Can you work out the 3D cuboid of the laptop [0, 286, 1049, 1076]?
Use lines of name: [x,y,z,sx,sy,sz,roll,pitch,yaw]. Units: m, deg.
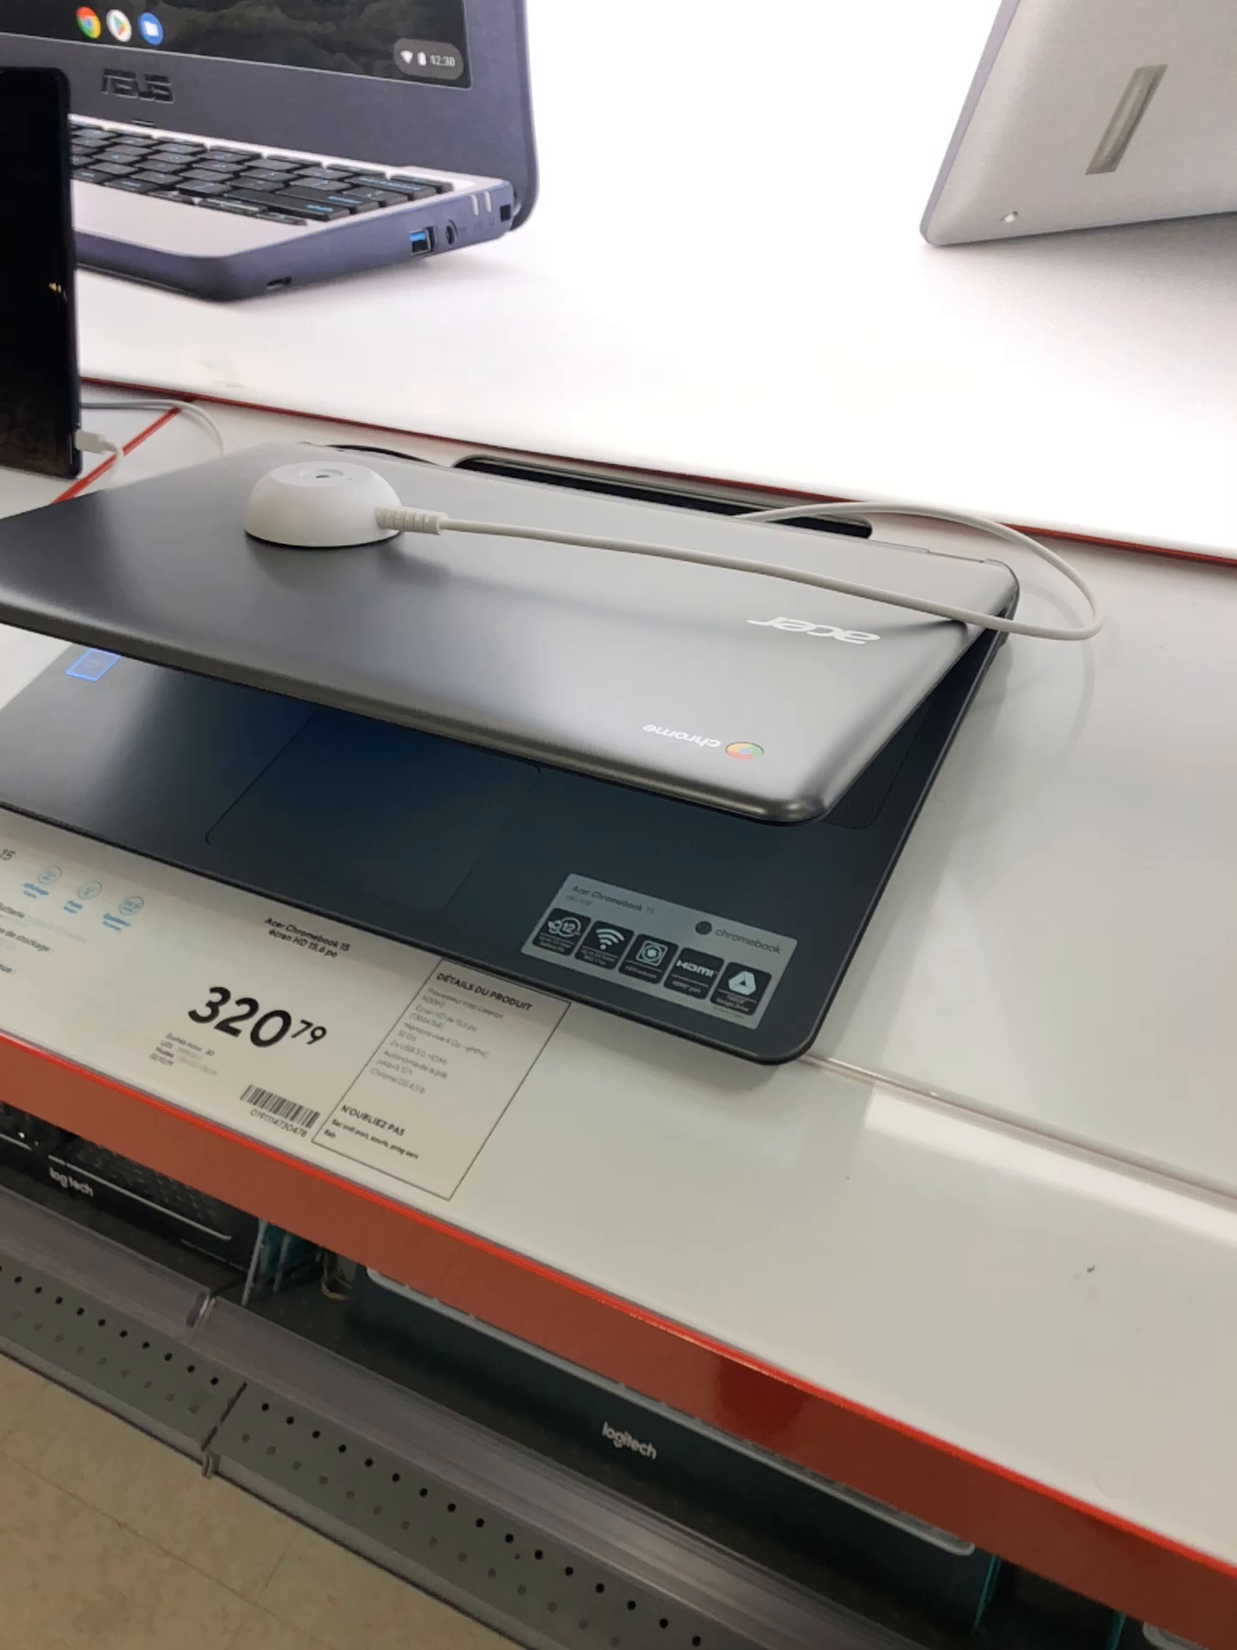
laptop: [-0.059,-0.089,0.513,0.370,0.088,0.248,16,50,24]
